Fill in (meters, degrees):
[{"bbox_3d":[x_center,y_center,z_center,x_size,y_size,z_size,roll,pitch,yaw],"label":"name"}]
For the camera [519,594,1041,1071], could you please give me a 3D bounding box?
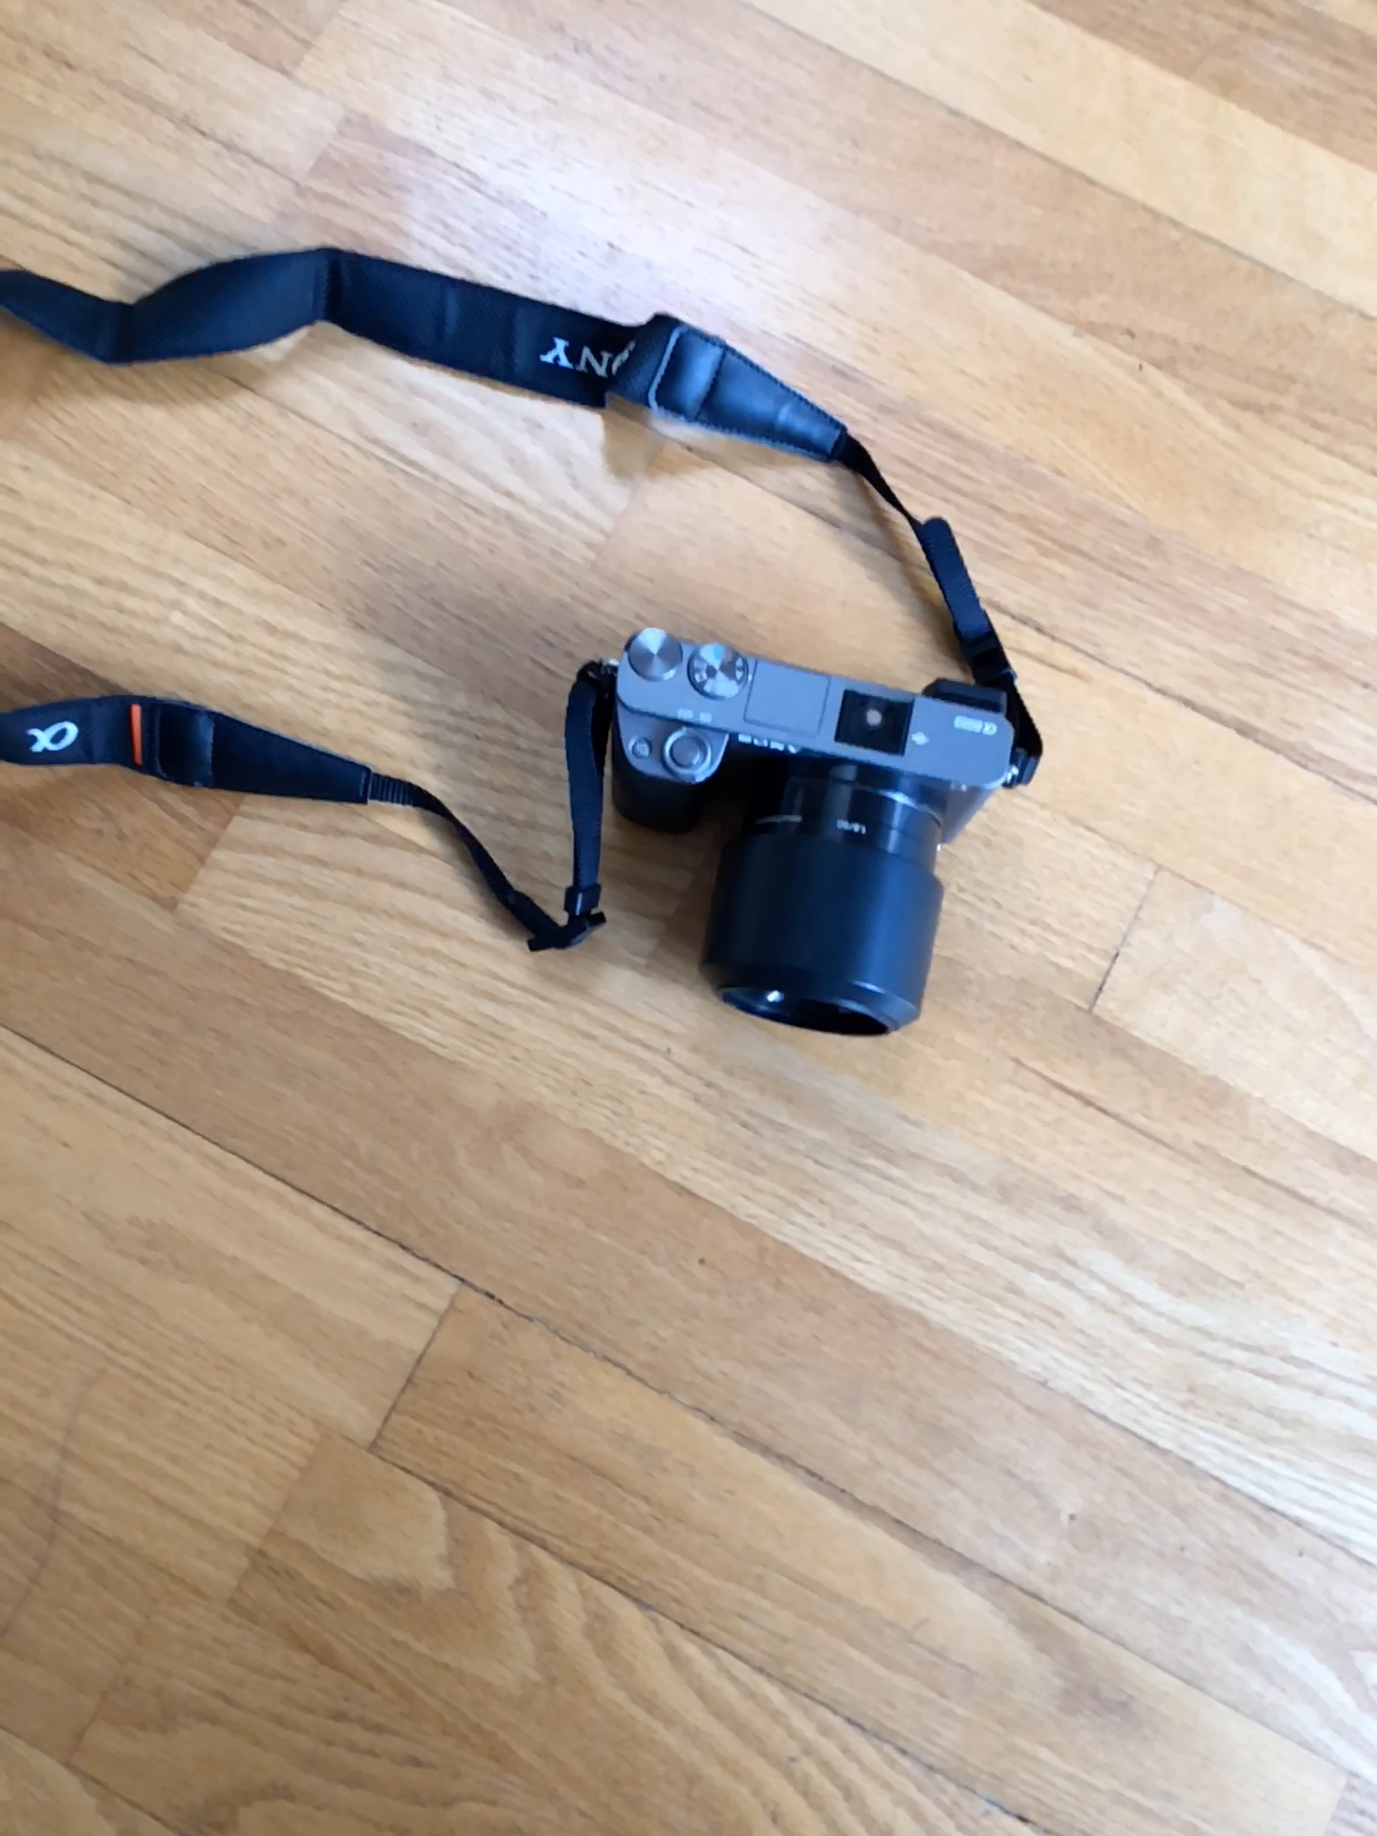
[{"bbox_3d":[0.027,-0.023,0.476,0.136,0.079,0.106,11,75,0],"label":"camera"}]
